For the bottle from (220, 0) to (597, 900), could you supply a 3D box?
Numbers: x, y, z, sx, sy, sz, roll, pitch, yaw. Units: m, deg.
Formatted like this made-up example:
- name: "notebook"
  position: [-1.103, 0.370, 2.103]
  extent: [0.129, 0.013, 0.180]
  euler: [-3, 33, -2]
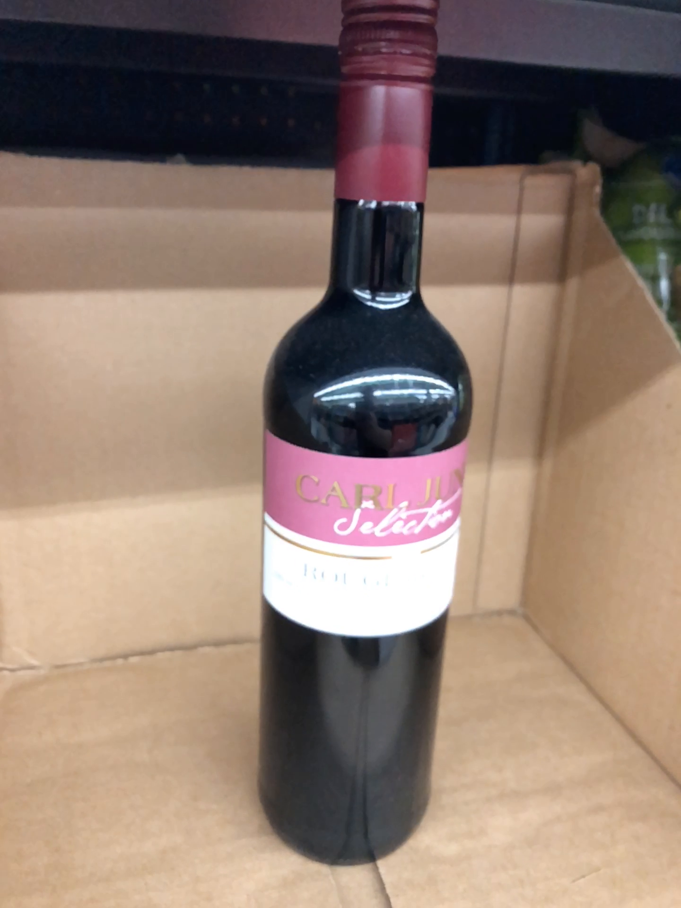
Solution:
- name: "bottle"
  position: [0.006, 0.006, 0.274]
  extent: [0.090, 0.308, 0.080]
  euler: [-2, 21, -11]
